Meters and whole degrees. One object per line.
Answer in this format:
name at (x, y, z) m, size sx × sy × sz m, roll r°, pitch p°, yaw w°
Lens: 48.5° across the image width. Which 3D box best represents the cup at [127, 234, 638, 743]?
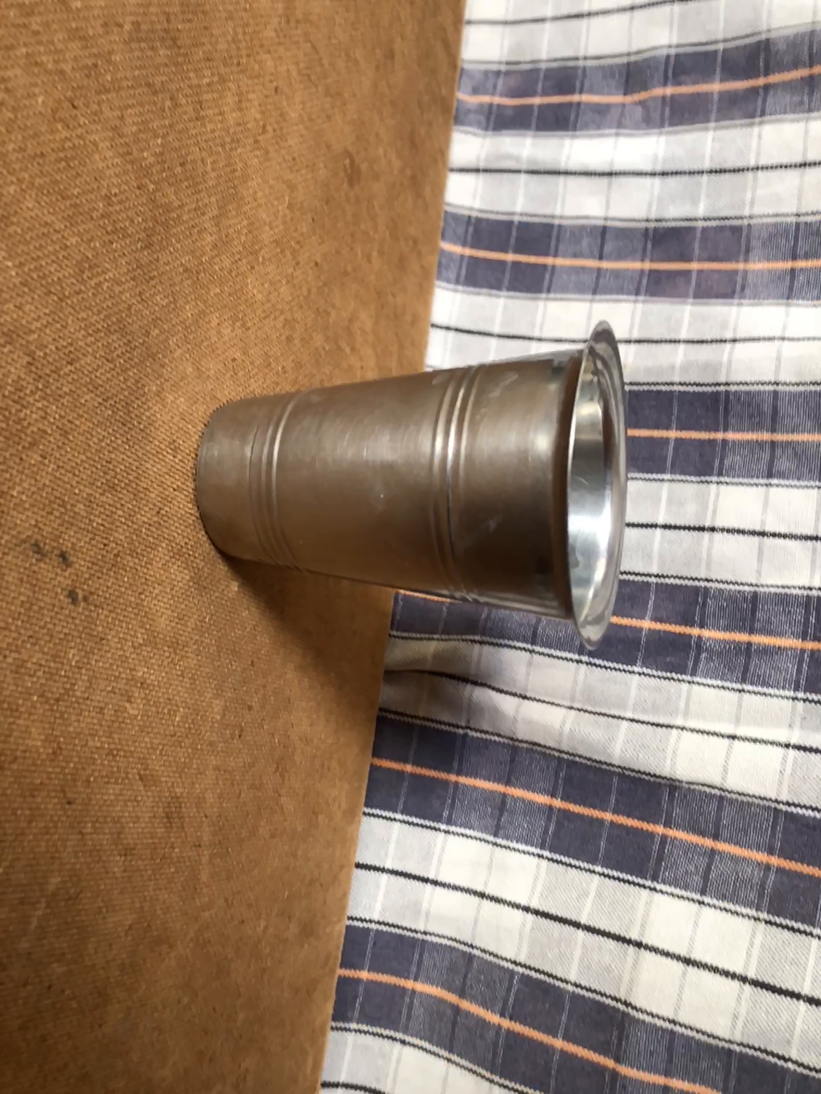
cup at (0.004, -0.014, 0.231) m, size 0.090 × 0.089 × 0.080 m, roll 71°, pitch 29°, yaw -43°
